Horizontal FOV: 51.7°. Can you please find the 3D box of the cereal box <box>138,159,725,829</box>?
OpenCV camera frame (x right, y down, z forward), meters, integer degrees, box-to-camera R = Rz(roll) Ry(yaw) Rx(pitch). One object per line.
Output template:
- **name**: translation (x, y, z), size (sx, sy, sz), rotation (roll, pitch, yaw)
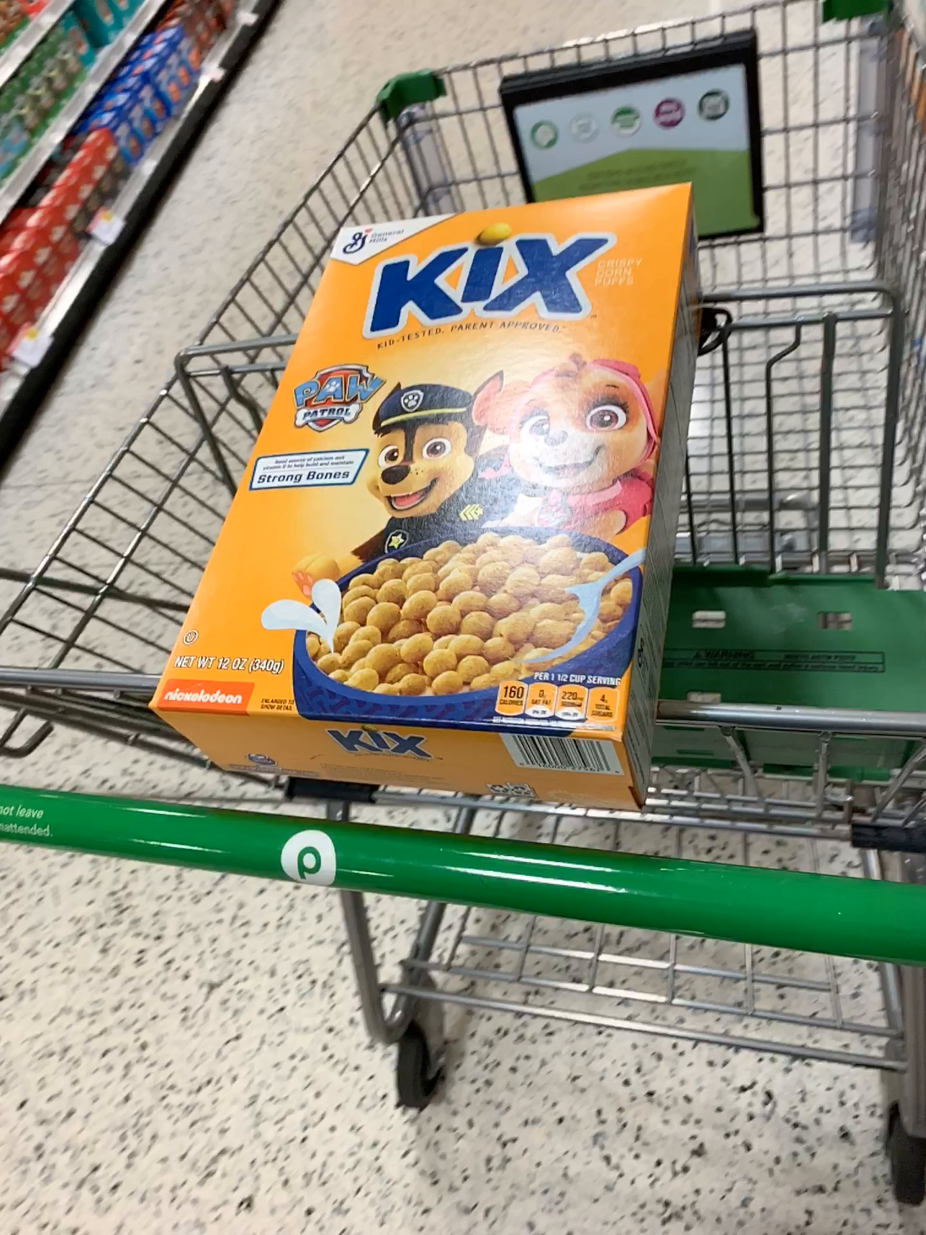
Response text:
- **cereal box**: translation (0.008, -0.075, 0.468), size (0.210, 0.079, 0.322), rotation (1, 58, 20)
